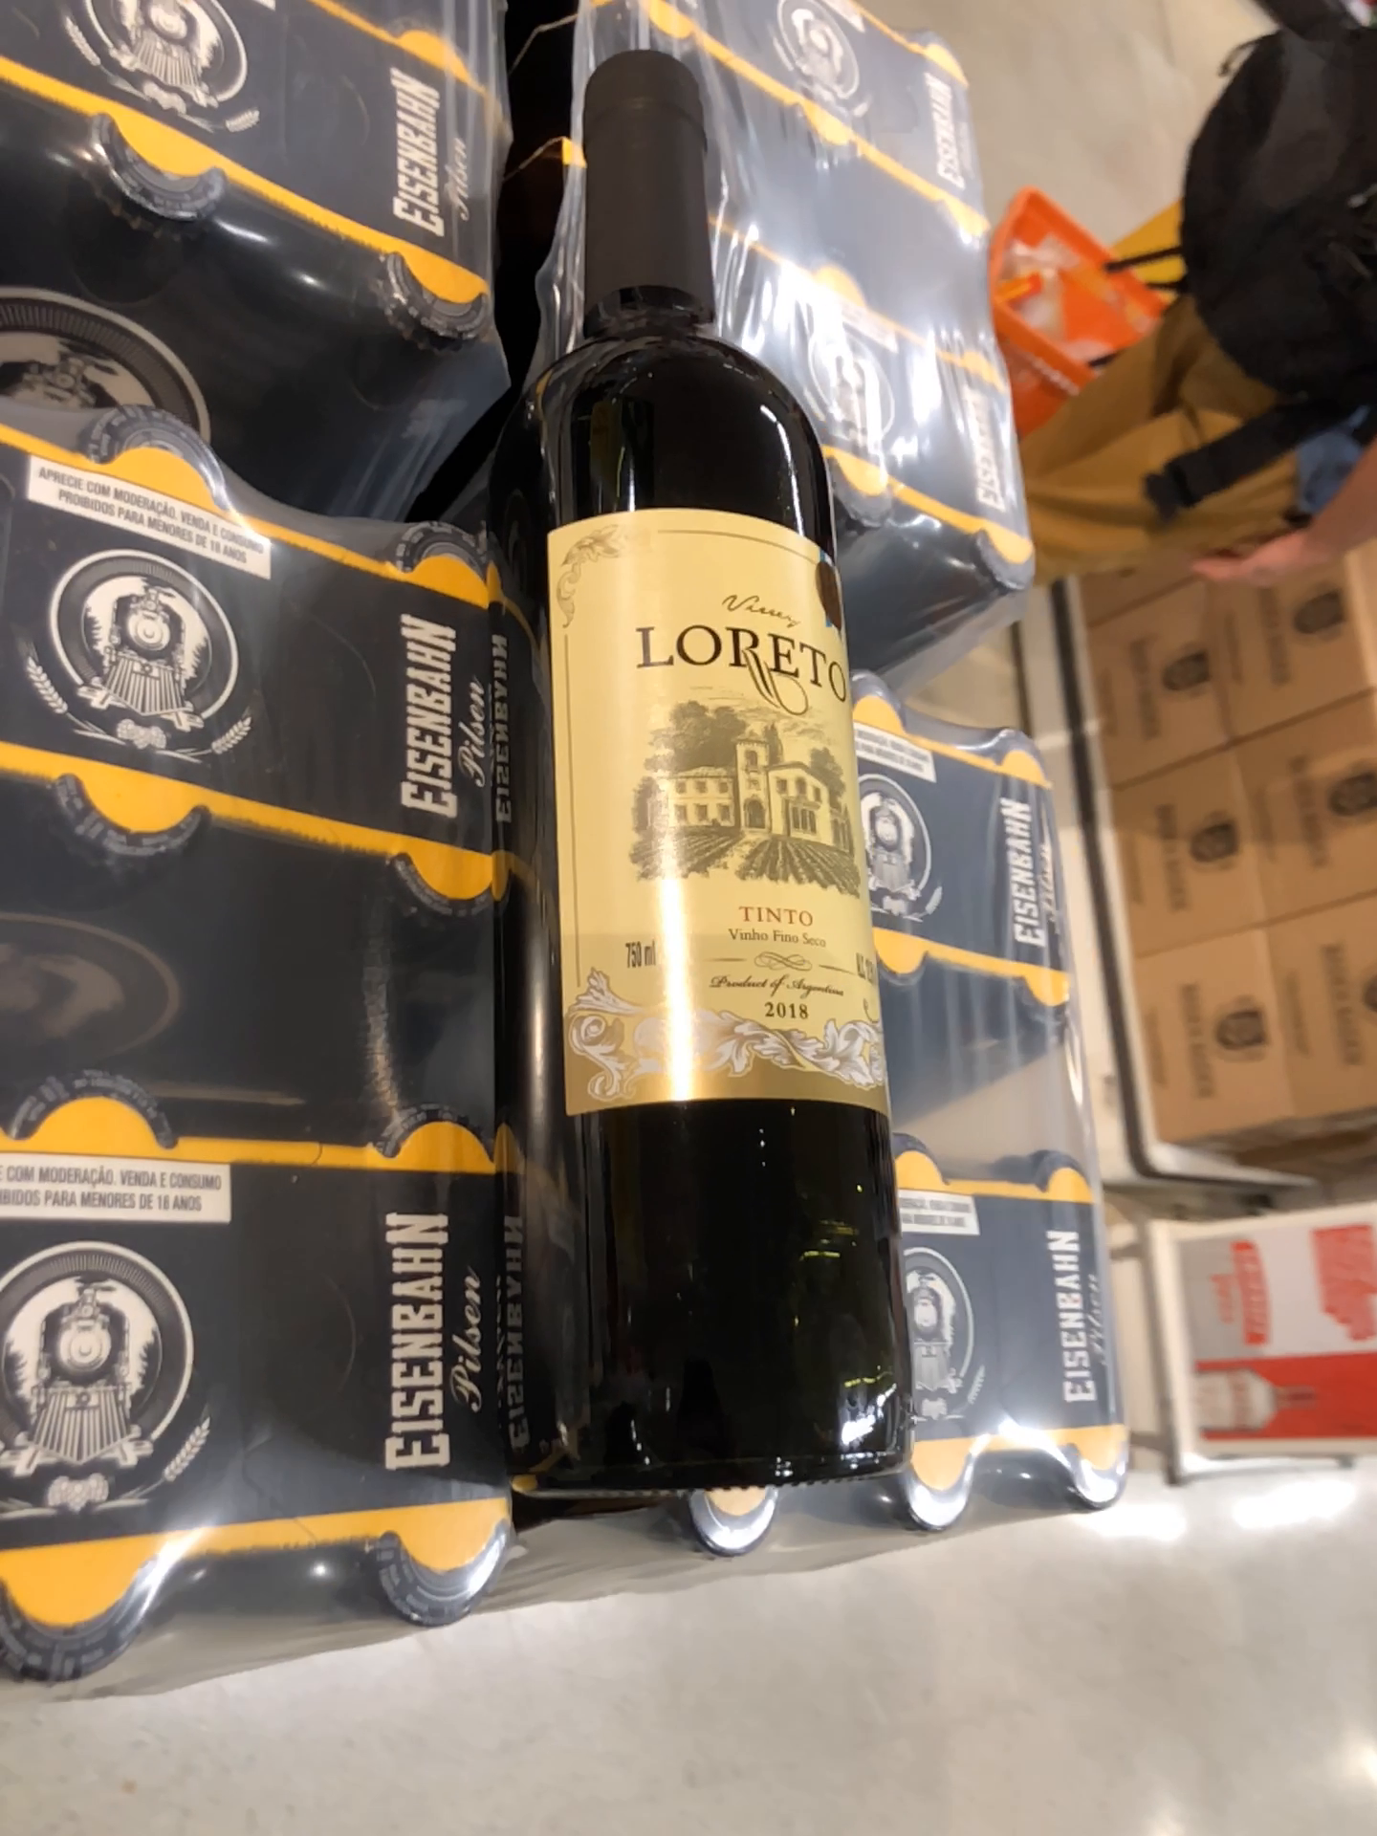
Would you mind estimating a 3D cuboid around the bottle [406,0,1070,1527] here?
[{"bbox_3d":[-0.004,-0.063,0.300,0.080,0.079,0.330,6,70,-27],"label":"bottle"}]
